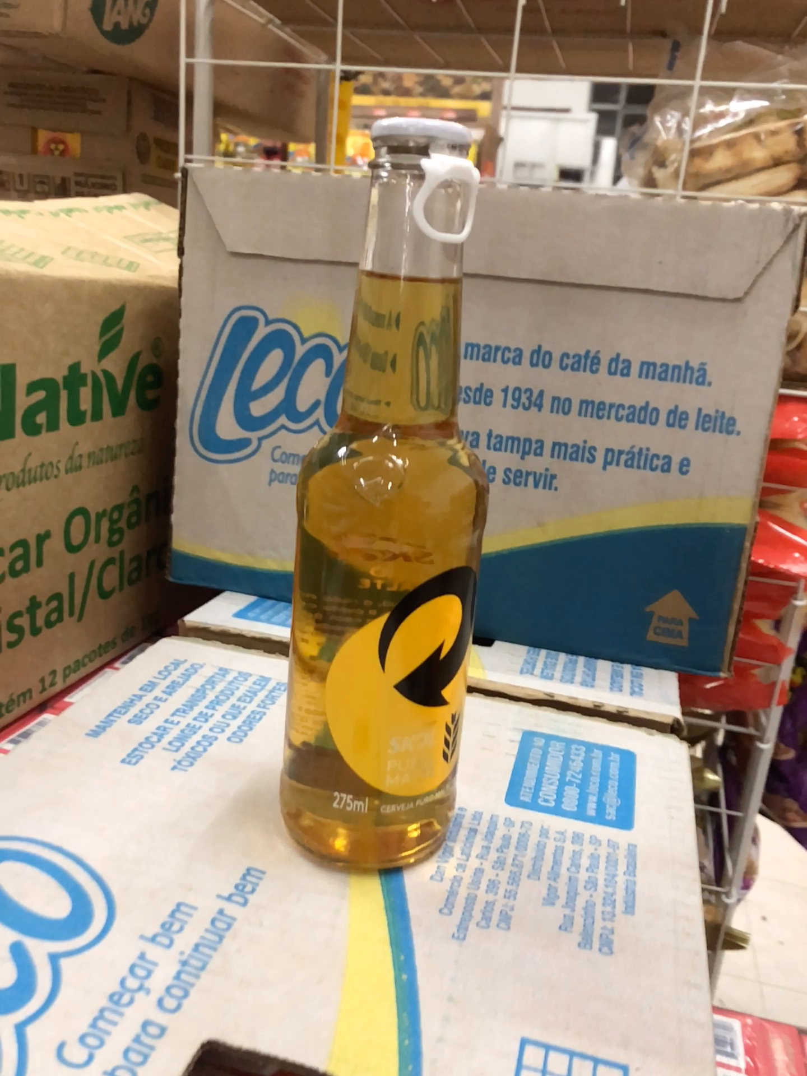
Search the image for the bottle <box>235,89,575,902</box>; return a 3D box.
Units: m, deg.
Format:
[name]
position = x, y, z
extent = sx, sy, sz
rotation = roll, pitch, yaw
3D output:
[bottle]
position = -0.004, -0.010, 0.264
extent = 0.060, 0.209, 0.060
rotation = 4, 16, -1
